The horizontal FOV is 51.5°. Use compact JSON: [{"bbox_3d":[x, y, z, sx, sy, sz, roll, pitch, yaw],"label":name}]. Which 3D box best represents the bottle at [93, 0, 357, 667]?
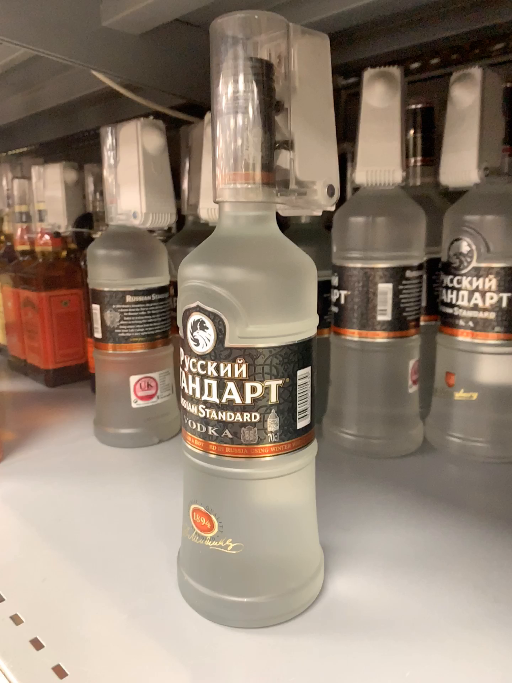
[{"bbox_3d":[-0.013,-0.004,0.282,0.088,0.289,0.092,-1,11,0],"label":"bottle"}]
